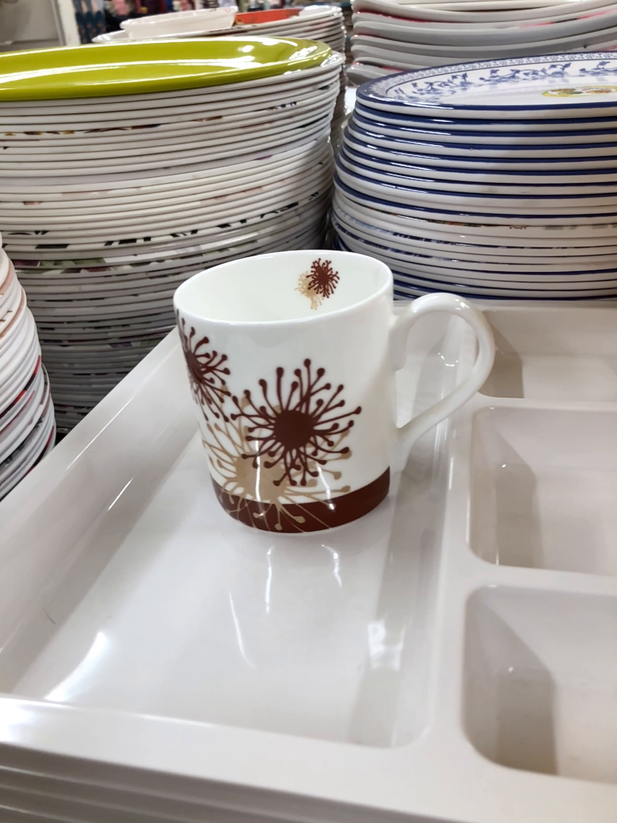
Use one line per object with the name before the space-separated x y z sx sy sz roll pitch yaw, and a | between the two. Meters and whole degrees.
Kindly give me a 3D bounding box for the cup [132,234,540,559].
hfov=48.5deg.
cup | 0.014 -0.009 0.257 0.120 0.089 0.081 0 30 9
